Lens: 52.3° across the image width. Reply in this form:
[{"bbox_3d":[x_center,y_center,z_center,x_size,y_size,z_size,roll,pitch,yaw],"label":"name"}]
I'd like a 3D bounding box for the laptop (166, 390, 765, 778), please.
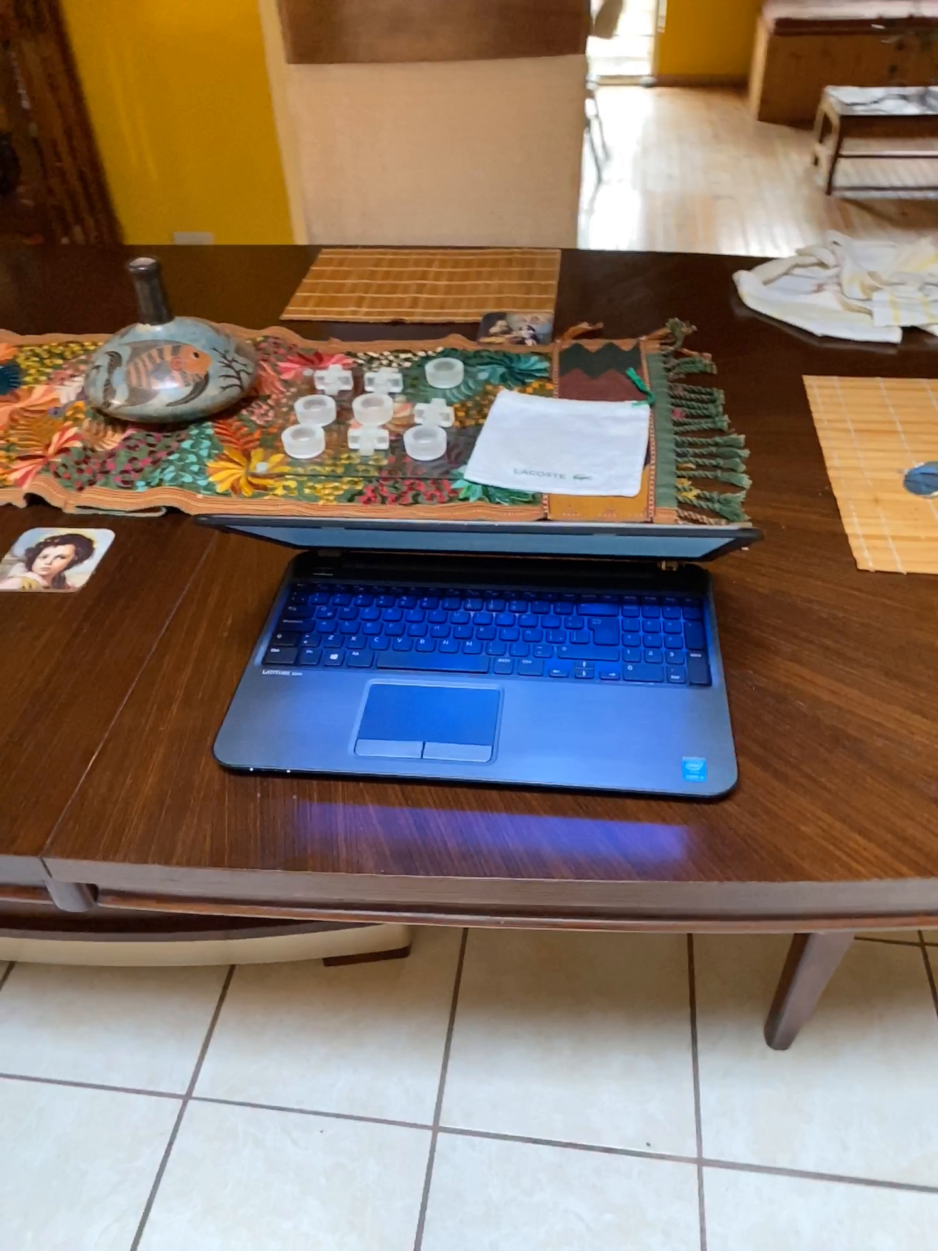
[{"bbox_3d":[0.012,-0.043,0.710,0.356,0.158,0.249,2,41,6],"label":"laptop"}]
